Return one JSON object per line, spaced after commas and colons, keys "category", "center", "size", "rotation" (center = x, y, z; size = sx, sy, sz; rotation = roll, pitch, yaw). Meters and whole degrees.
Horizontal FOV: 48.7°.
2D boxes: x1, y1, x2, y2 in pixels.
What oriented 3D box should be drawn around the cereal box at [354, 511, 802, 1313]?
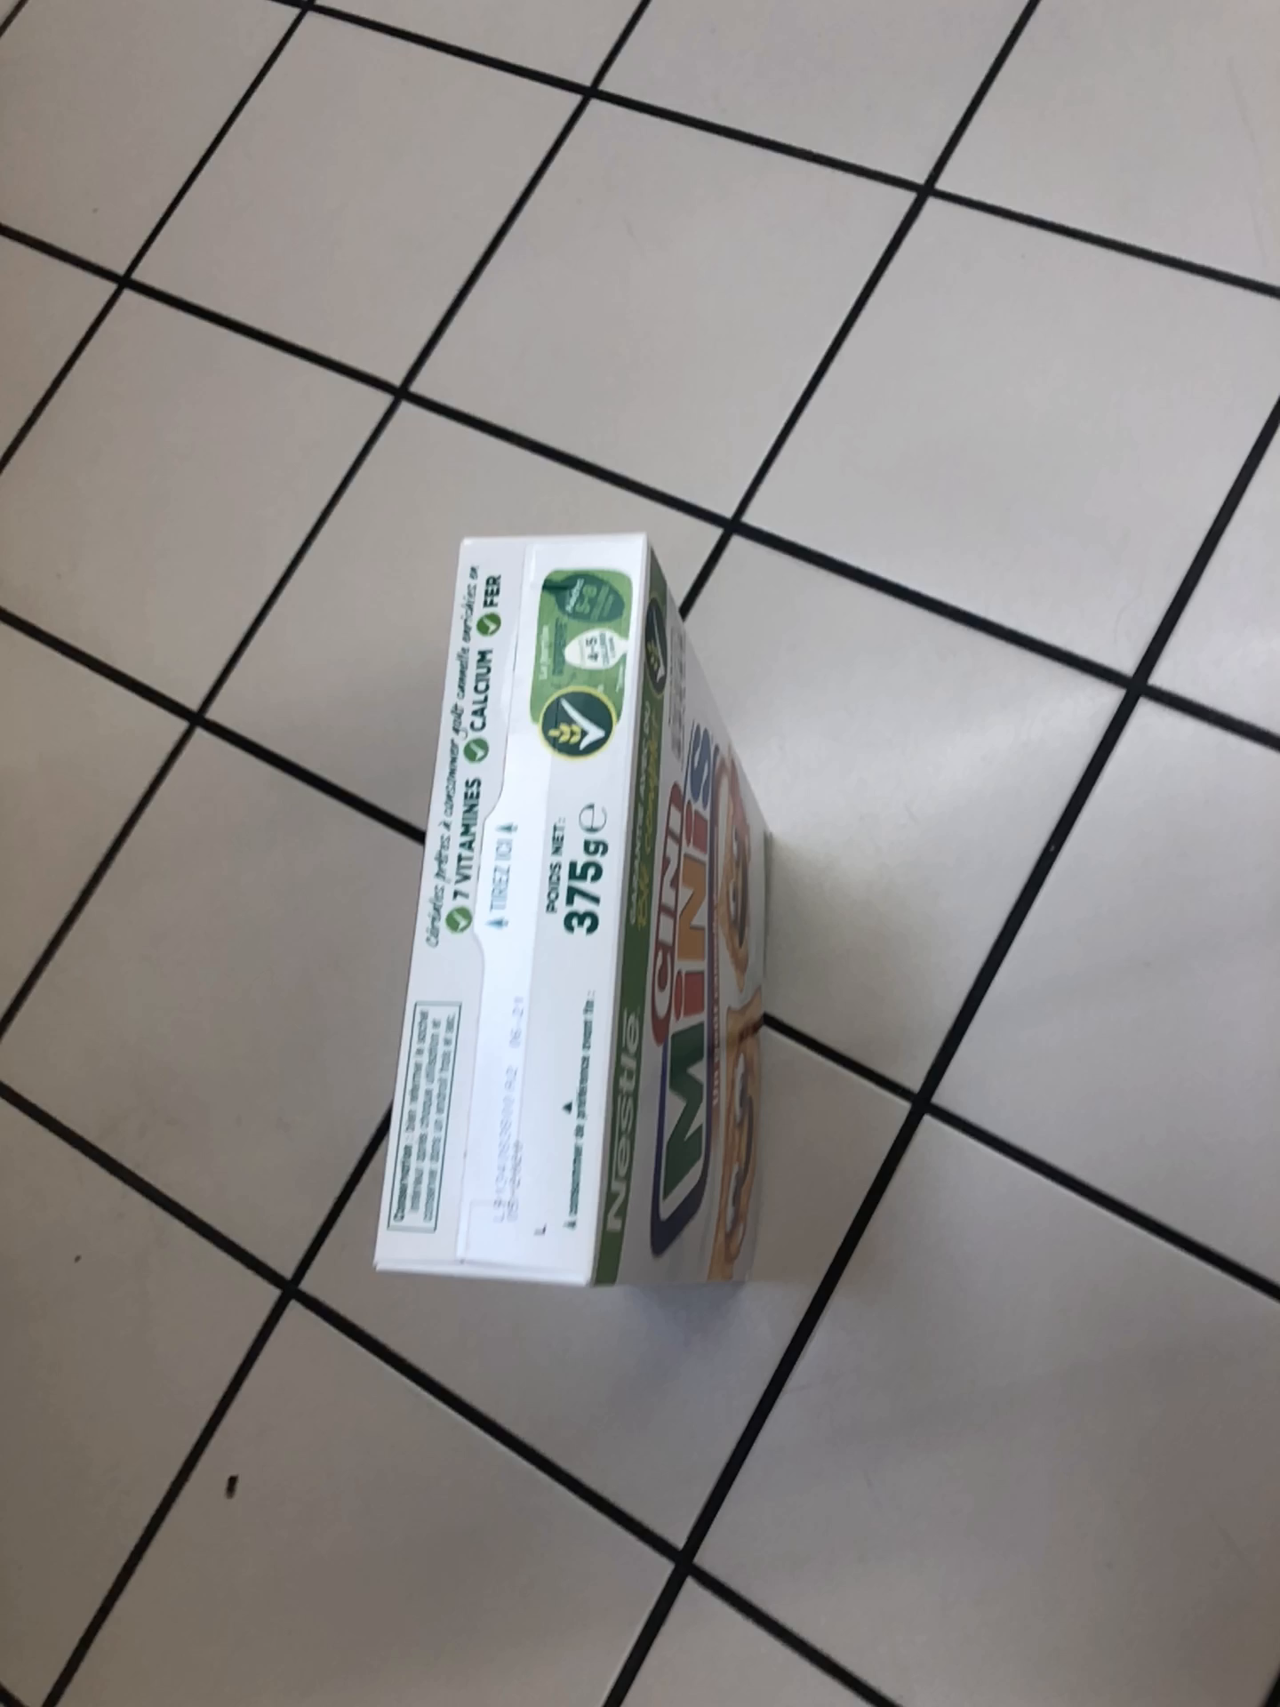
{"category": "cereal box", "center": [0.002, 0.045, 0.476], "size": [0.070, 0.270, 0.200], "rotation": [-2, 73, 13]}
